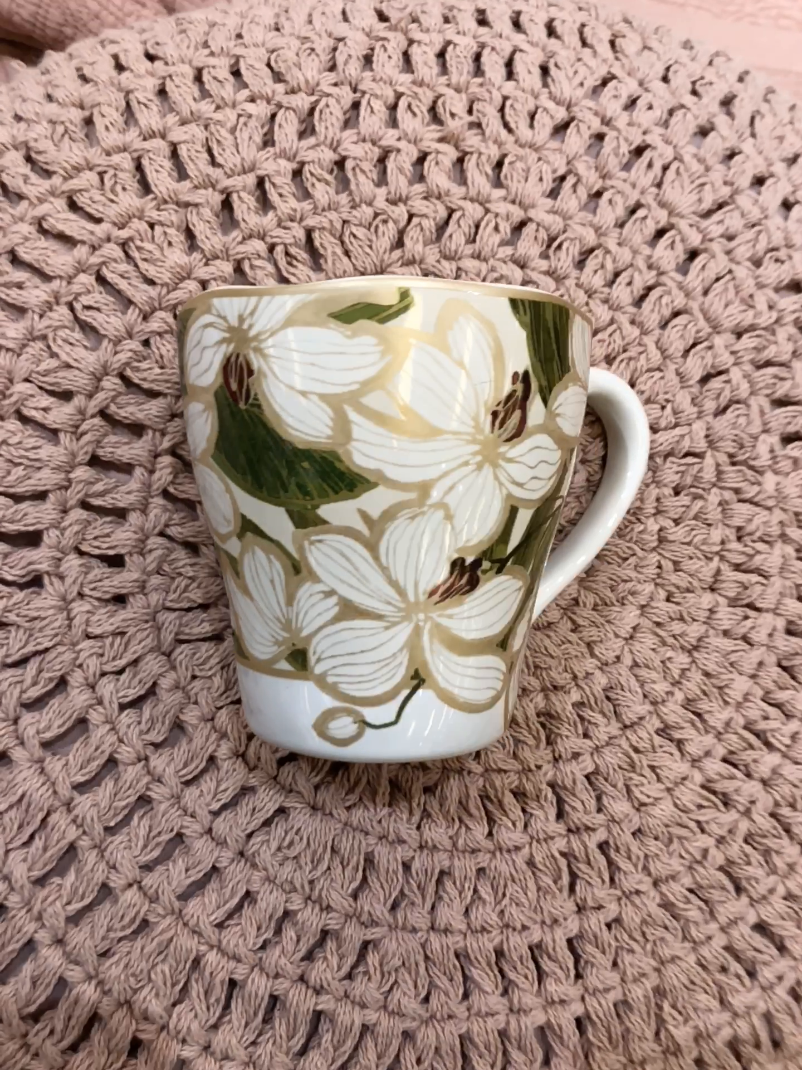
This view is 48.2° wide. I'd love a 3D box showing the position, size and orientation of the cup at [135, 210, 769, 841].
[{"bbox_3d":[0.009,-0.006,0.238,0.140,0.090,0.120,-2,95,-22],"label":"cup"}]
